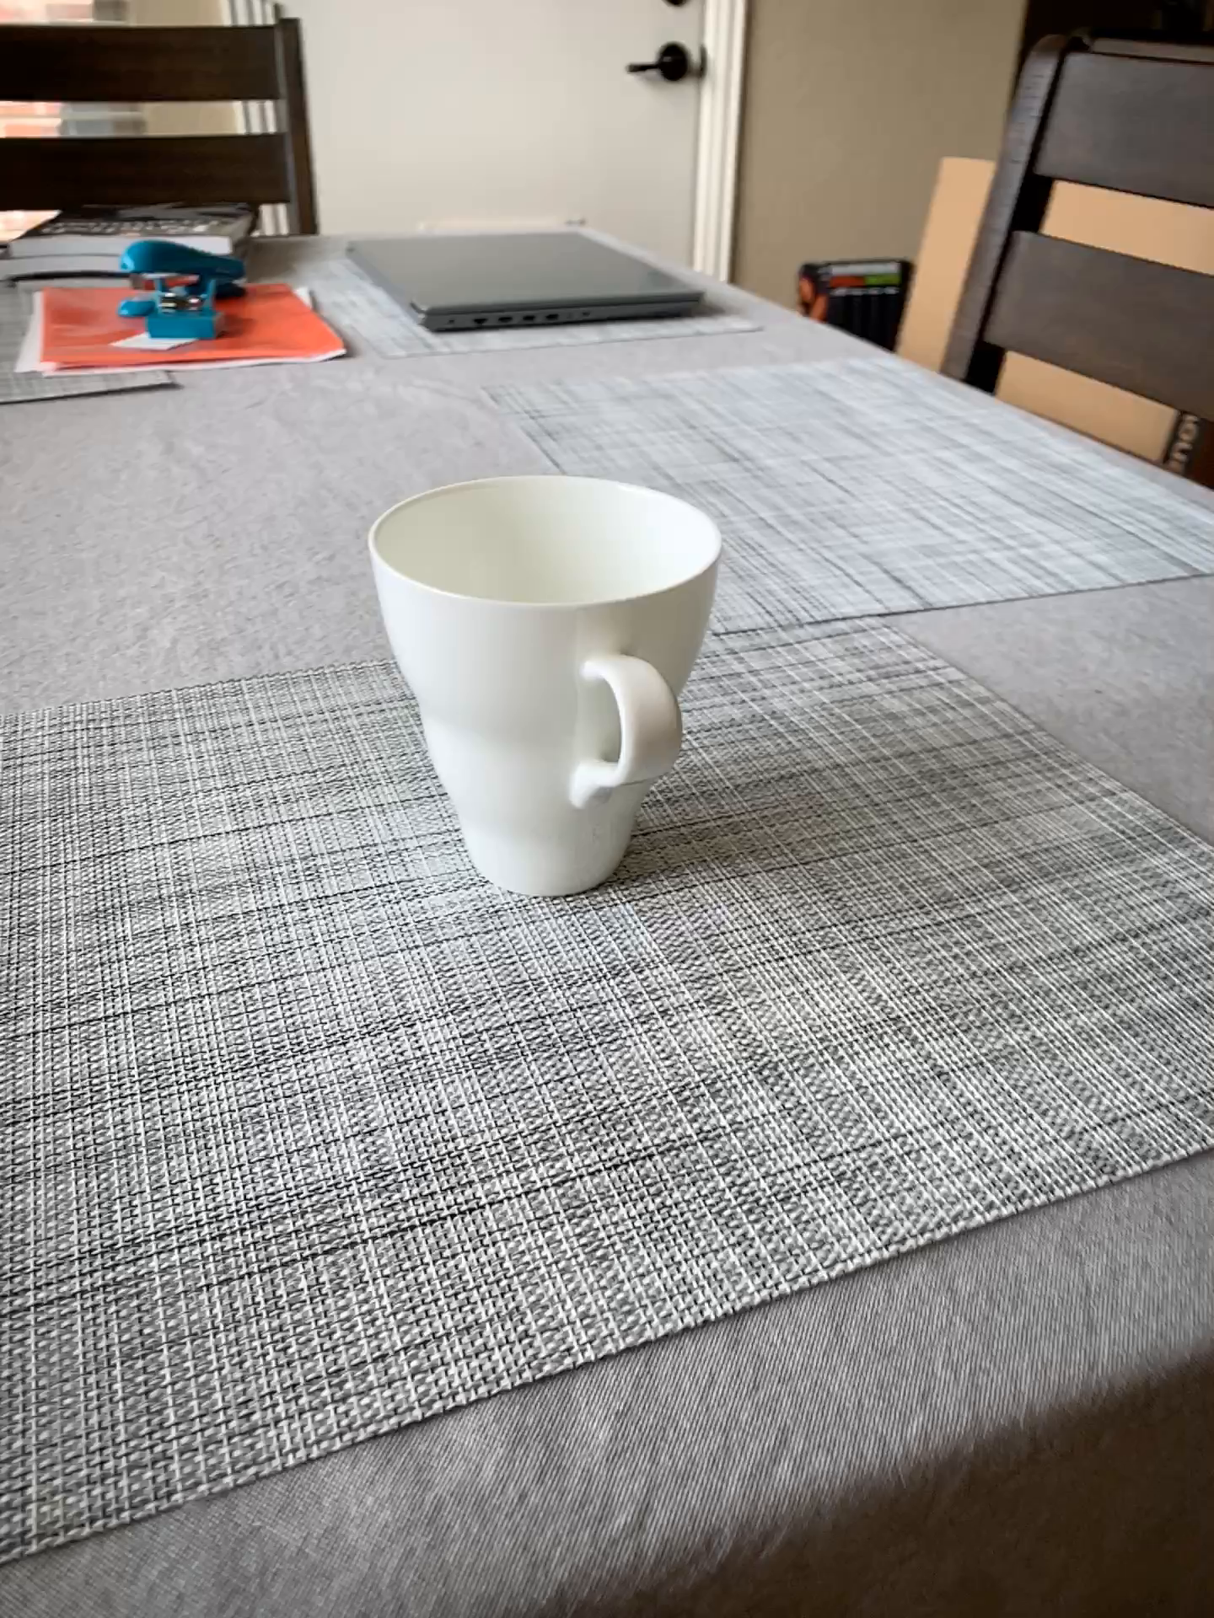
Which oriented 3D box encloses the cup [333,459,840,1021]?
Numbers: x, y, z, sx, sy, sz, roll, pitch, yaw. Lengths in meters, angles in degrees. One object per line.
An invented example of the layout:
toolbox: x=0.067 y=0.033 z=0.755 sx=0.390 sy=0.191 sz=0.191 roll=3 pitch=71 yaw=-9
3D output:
cup: x=-0.012 y=-0.028 z=0.357 sx=0.098 sy=0.098 sz=0.121 roll=-12 pitch=35 yaw=-17
